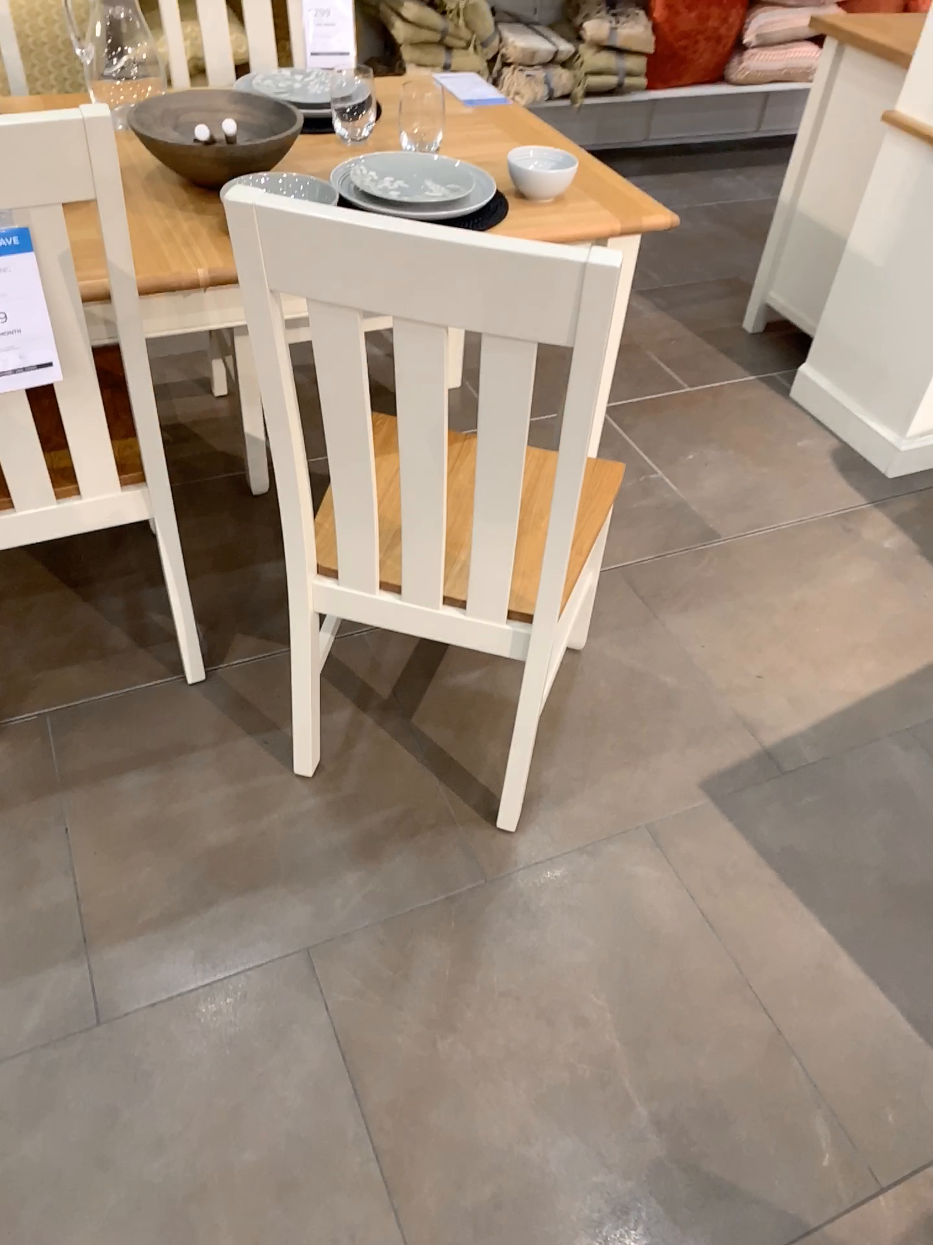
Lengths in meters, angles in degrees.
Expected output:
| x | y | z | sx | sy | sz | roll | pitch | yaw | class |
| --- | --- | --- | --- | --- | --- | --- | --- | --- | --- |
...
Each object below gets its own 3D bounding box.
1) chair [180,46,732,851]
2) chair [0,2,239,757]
| x | y | z | sx | sy | sz | roll | pitch | yaw | class |
| --- | --- | --- | --- | --- | --- | --- | --- | --- | --- |
| 0.004 | -0.216 | 1.388 | 0.502 | 0.925 | 0.551 | 13 | 44 | 7 | chair |
| -0.688 | -0.348 | 1.466 | 0.472 | 0.925 | 0.540 | -13 | 46 | -19 | chair |
